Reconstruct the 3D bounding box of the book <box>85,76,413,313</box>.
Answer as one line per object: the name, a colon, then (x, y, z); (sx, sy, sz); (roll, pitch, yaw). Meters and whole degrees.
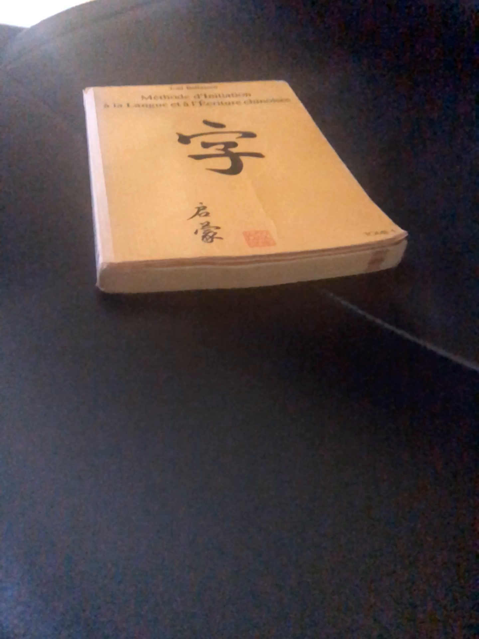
book: (-0.015, -0.096, 0.328); (0.152, 0.028, 0.221); (-9, 42, -9)
